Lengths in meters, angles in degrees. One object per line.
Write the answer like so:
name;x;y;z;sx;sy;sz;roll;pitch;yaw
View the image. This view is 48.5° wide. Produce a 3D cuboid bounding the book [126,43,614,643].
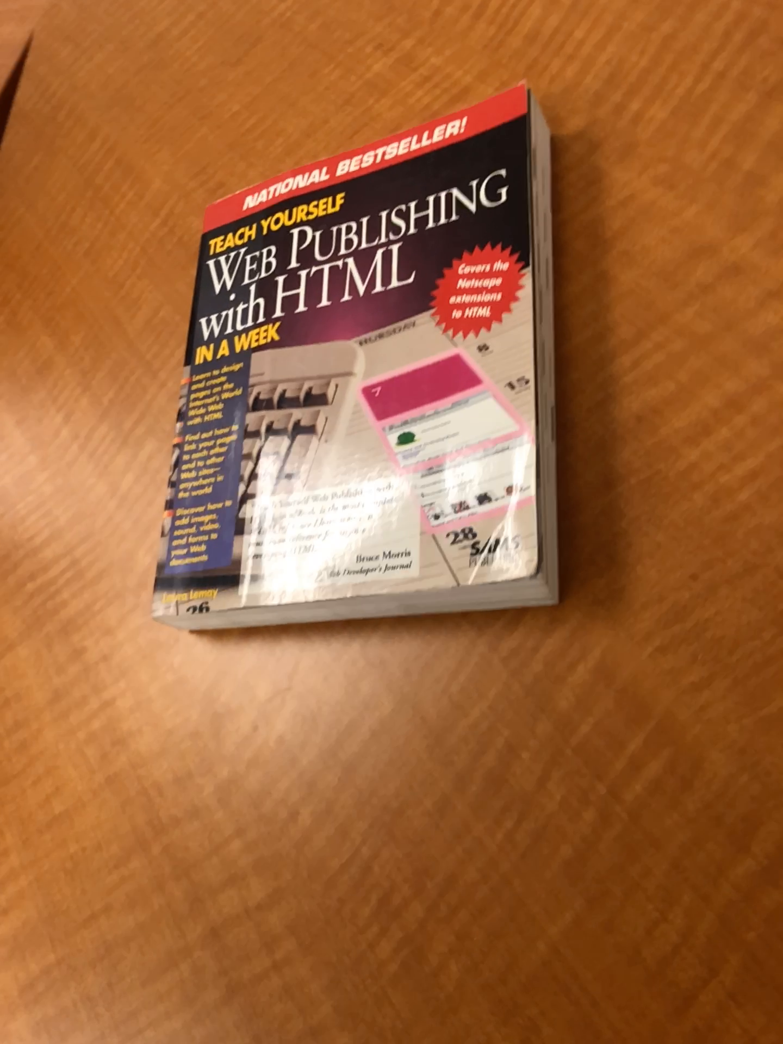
book;-0.012;-0.077;0.406;0.211;0.040;0.250;-8;67;26
